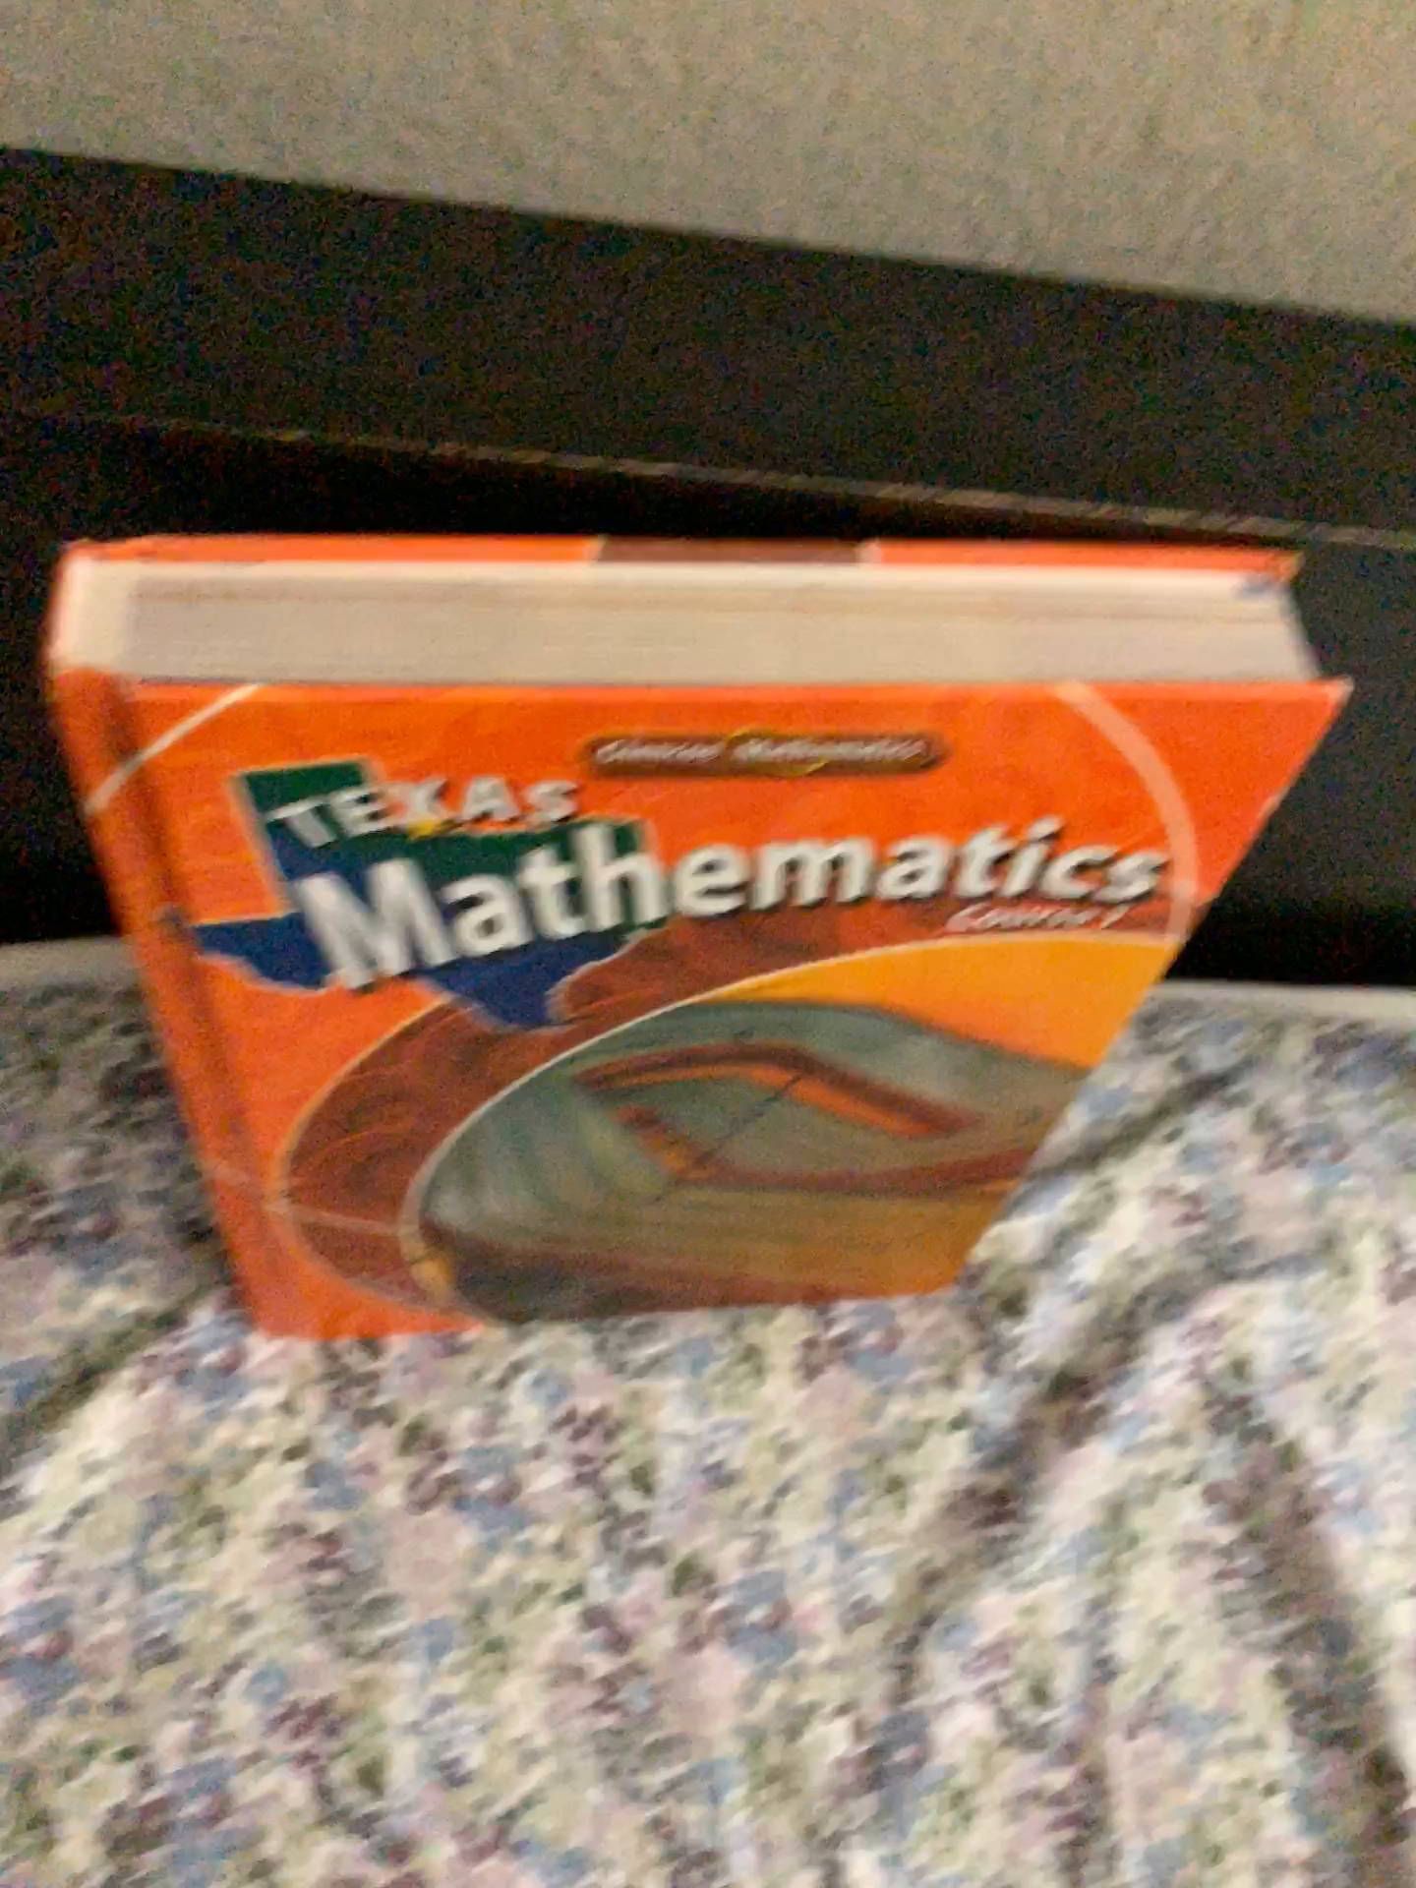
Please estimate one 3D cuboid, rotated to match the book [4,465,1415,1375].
[{"bbox_3d":[-0.004,0.023,0.350,0.230,0.299,0.050,-3,60,-12],"label":"book"}]
